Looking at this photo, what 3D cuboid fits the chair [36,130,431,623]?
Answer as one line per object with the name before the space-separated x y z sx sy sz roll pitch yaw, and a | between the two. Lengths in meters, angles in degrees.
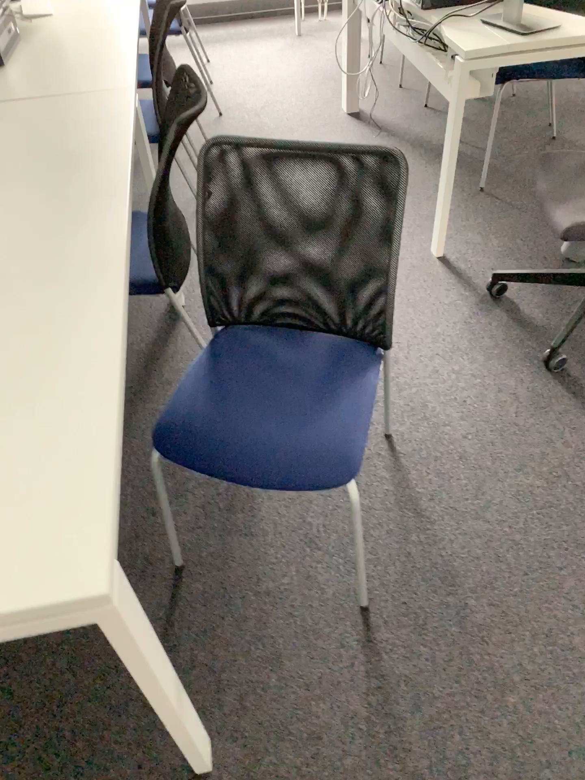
chair | -0.034 -0.009 1.368 0.540 0.895 0.603 8 46 12
